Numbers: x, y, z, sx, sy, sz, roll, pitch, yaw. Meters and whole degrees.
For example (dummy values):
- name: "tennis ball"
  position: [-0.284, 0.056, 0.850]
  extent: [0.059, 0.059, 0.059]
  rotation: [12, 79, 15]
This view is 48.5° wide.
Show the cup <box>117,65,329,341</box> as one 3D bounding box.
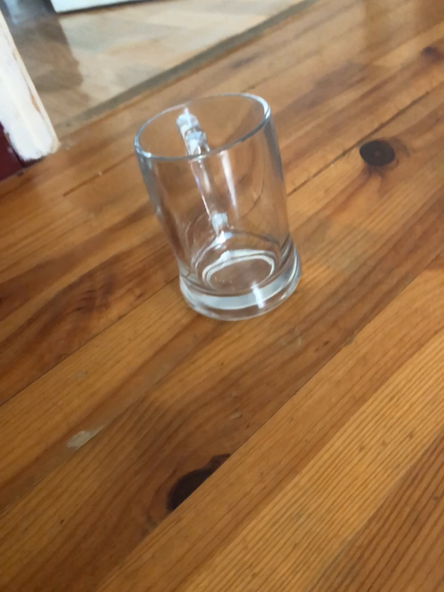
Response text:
- name: "cup"
  position: [-0.002, -0.065, 0.322]
  extent: [0.091, 0.110, 0.129]
  rotation: [-18, 41, -3]
